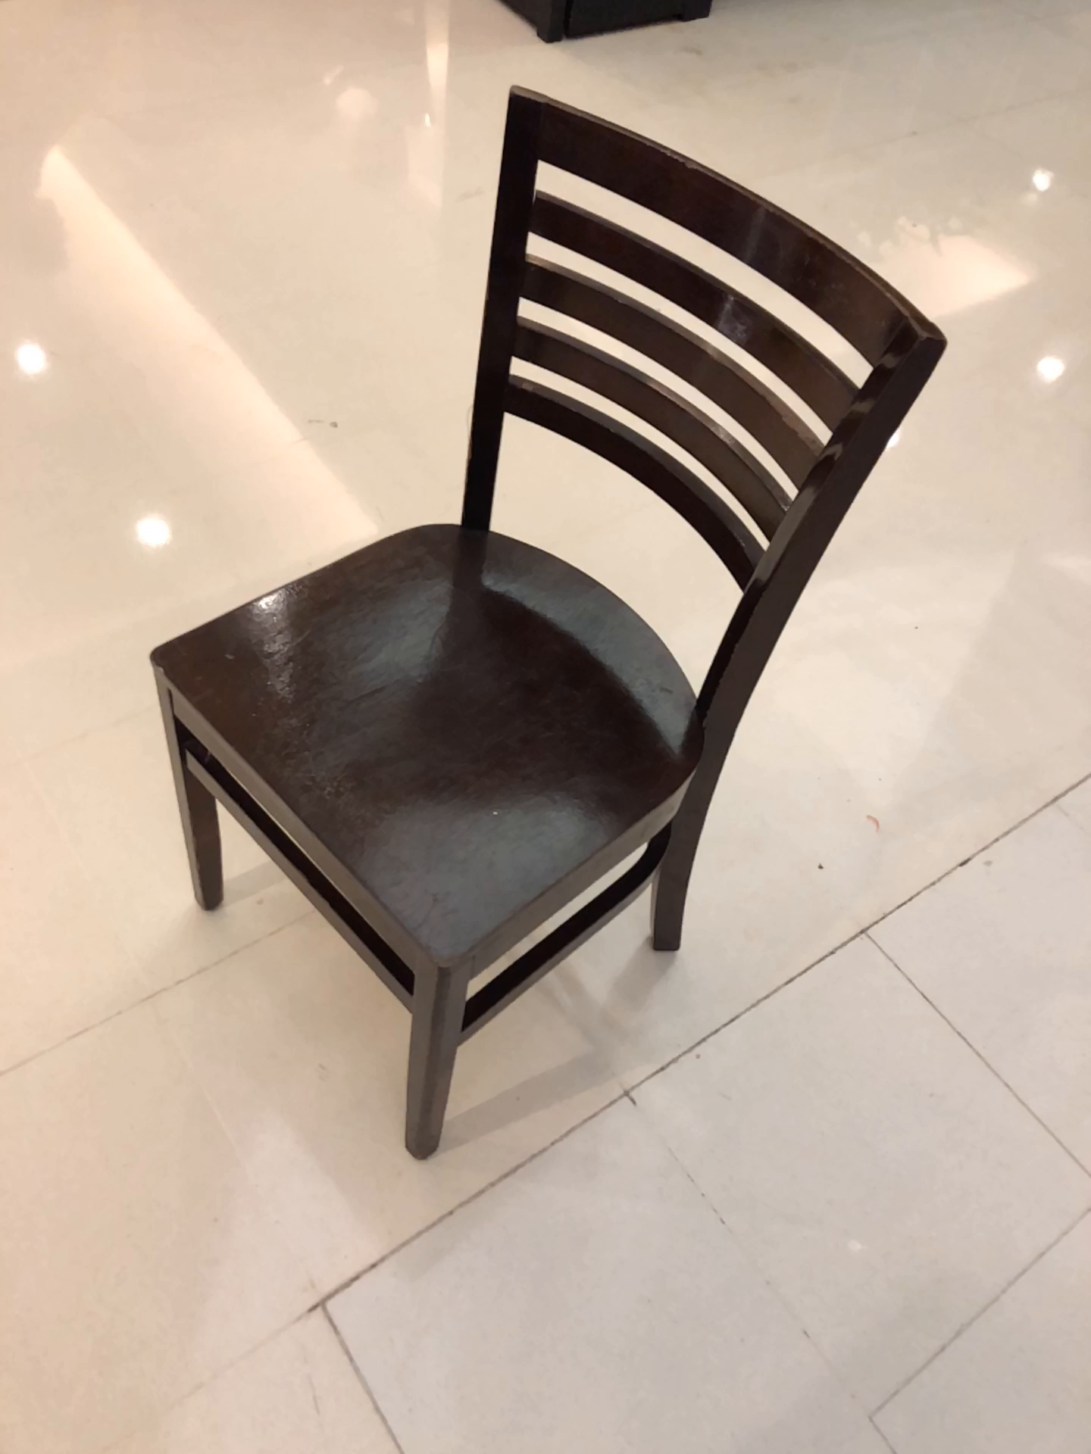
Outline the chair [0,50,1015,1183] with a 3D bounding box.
[{"bbox_3d":[-0.061,-0.060,1.149,0.542,0.845,0.461,-33,62,-29],"label":"chair"}]
